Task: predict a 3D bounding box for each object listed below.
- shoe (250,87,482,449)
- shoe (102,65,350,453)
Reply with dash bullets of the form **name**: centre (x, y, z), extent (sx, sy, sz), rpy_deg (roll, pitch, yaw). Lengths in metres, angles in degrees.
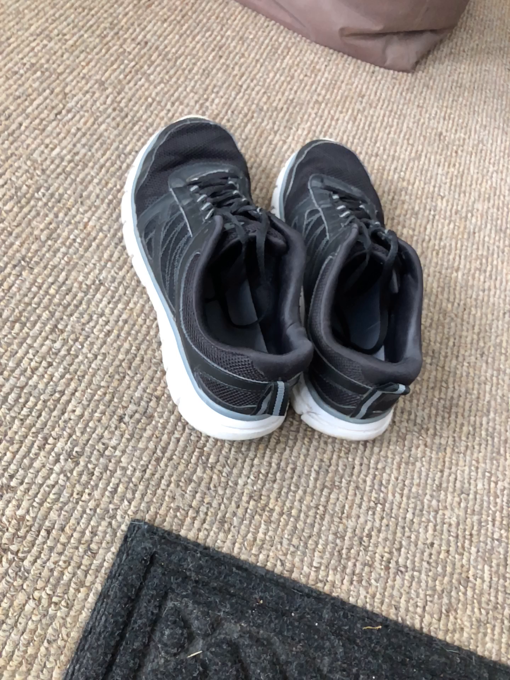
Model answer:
- **shoe**: centre (0.074, -0.063, 0.478), extent (0.120, 0.110, 0.276), rpy_deg (8, 58, -17)
- **shoe**: centre (-0.040, -0.068, 0.436), extent (0.118, 0.100, 0.276), rpy_deg (-2, 62, -22)
